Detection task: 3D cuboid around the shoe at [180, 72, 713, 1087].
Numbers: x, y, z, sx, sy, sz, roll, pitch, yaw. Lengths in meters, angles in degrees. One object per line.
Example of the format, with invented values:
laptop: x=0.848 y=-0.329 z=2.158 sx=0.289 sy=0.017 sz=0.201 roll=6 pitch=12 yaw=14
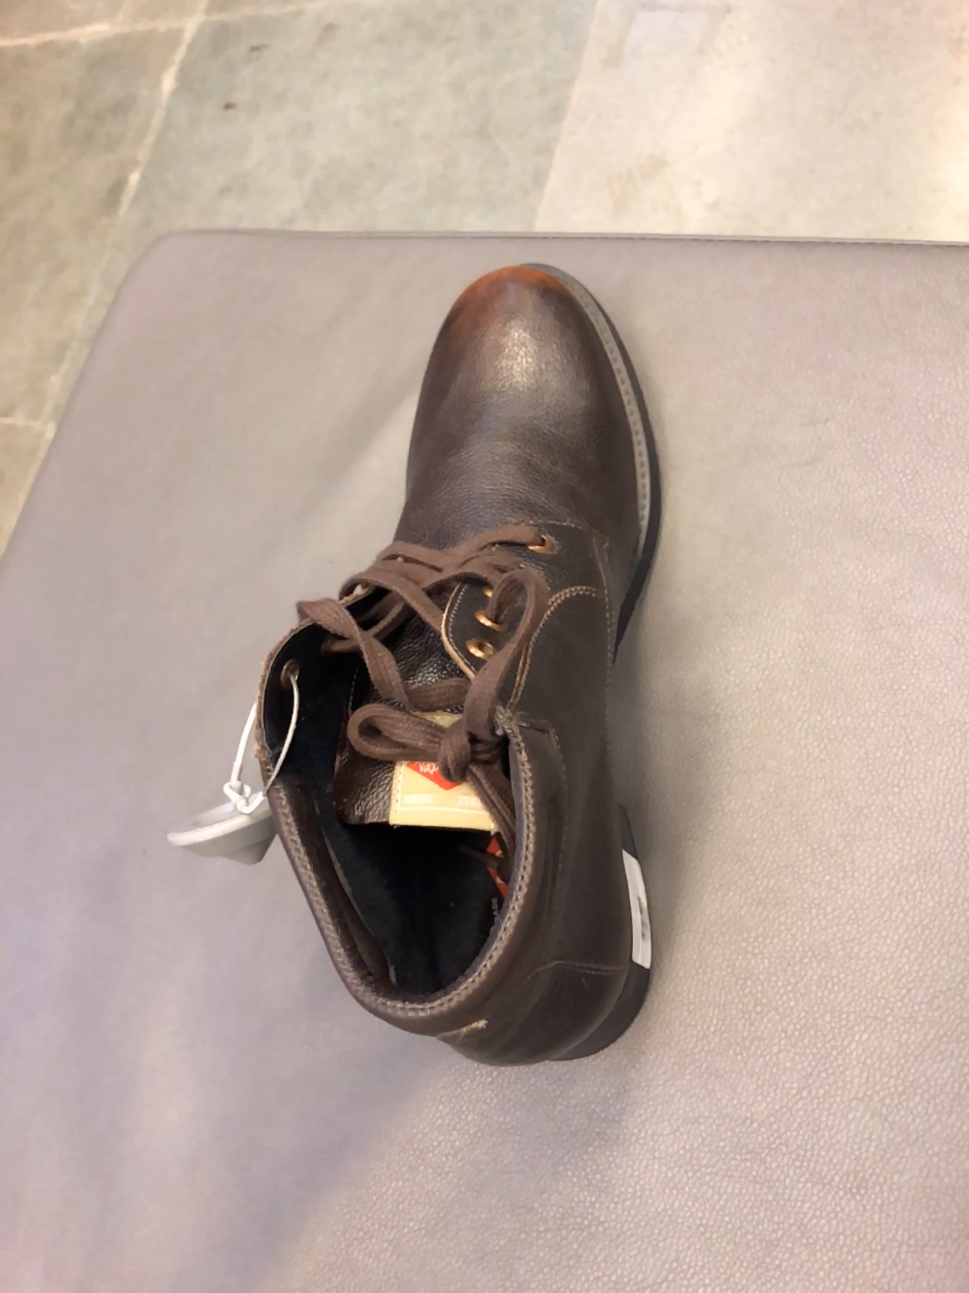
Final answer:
shoe: x=0.002 y=-0.009 z=0.392 sx=0.108 sy=0.178 sz=0.299 roll=-8 pitch=70 yaw=21
